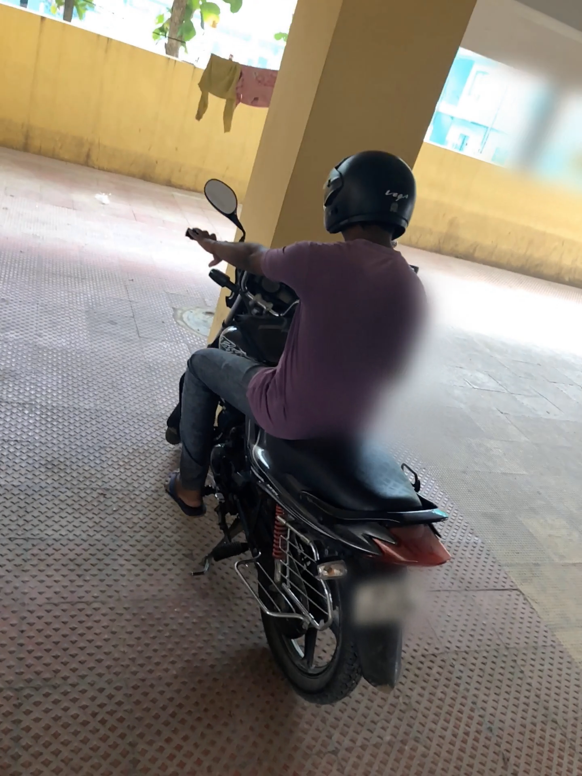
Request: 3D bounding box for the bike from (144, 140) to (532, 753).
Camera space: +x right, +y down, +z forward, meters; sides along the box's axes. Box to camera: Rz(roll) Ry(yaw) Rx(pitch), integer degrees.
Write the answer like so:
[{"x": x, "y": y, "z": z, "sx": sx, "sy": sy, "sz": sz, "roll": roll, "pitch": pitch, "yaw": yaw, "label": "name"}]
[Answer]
[{"x": -0.048, "y": 0.026, "z": 2.237, "sx": 0.632, "sy": 1.063, "sz": 1.653, "roll": 8, "pitch": 33, "yaw": -24, "label": "bike"}]
